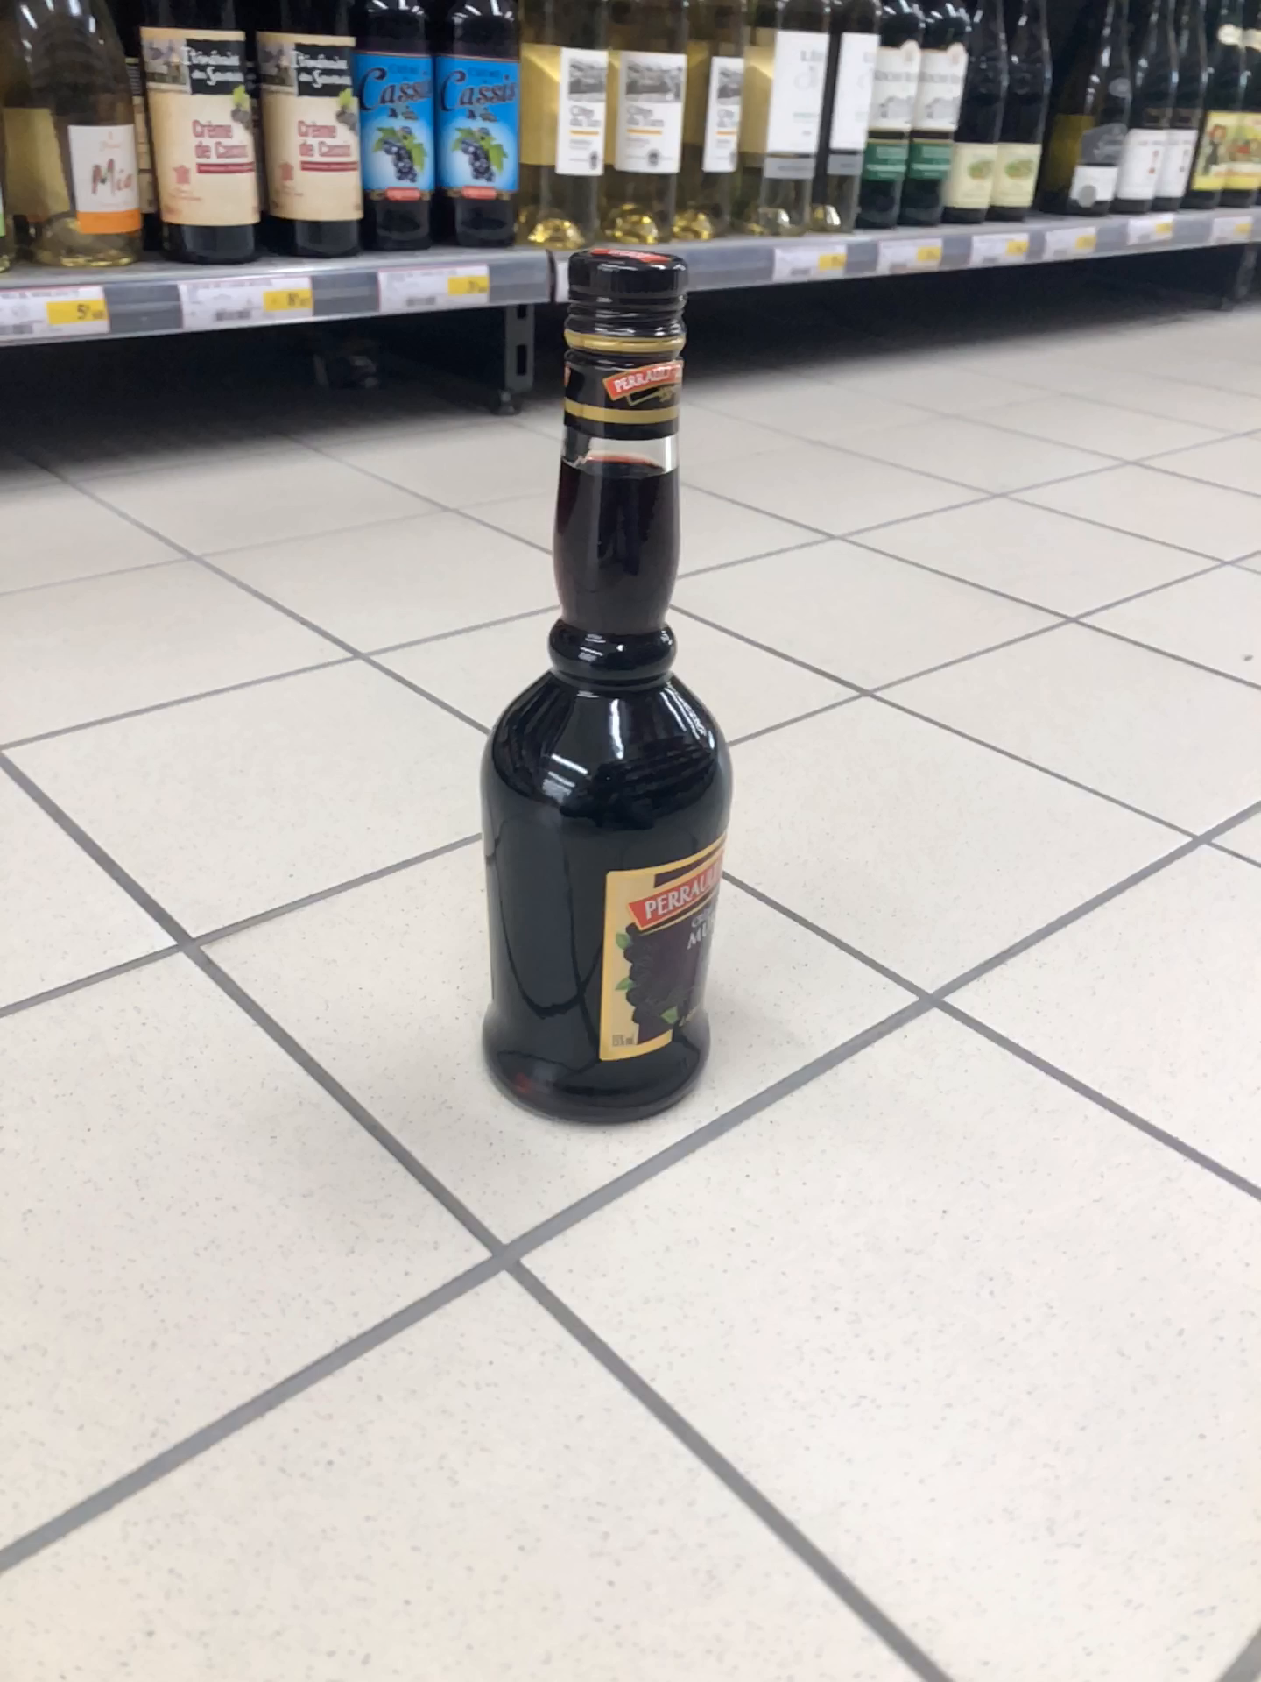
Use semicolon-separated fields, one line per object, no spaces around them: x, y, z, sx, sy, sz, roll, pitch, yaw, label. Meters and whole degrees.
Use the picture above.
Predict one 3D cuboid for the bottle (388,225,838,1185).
-0.009;-0.038;0.415;0.080;0.259;0.091;18;32;25;bottle
